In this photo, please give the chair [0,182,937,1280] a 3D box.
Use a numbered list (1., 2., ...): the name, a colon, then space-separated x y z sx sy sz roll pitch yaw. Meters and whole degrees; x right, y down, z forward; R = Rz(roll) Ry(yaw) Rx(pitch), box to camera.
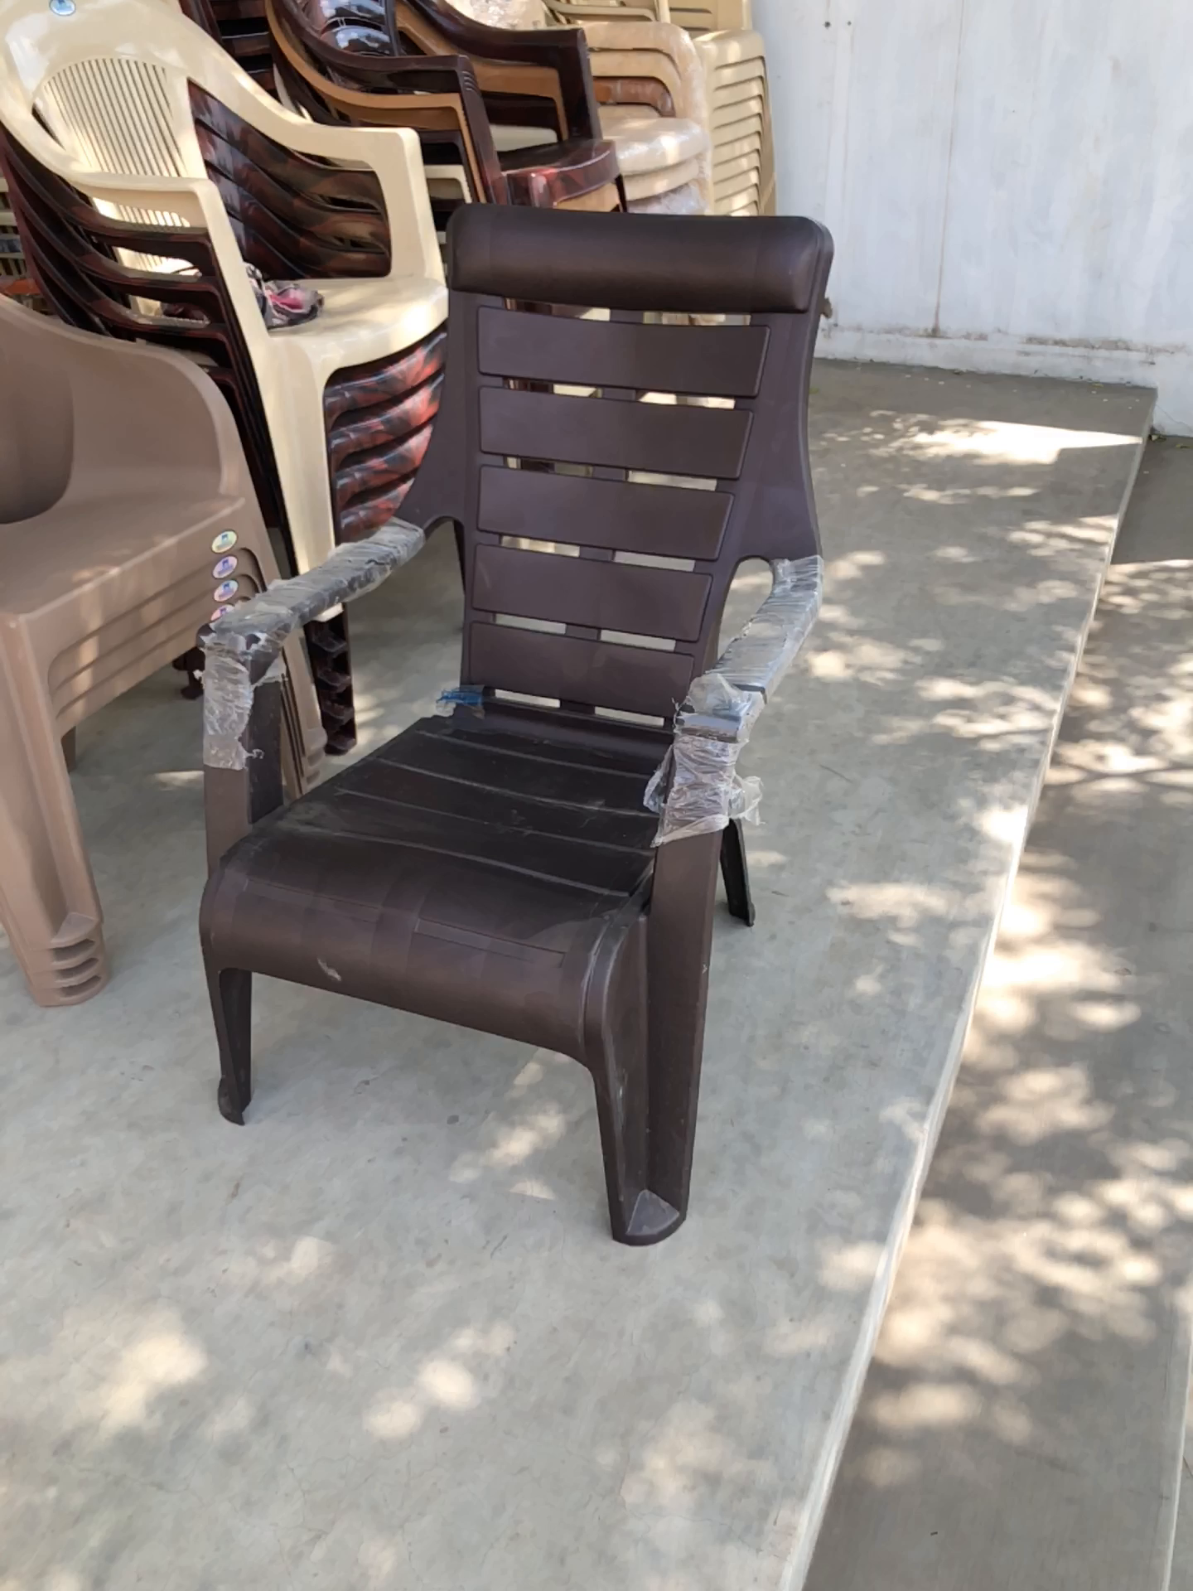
1. chair: -0.072 -0.144 1.472 0.680 0.875 0.765 11 36 20
